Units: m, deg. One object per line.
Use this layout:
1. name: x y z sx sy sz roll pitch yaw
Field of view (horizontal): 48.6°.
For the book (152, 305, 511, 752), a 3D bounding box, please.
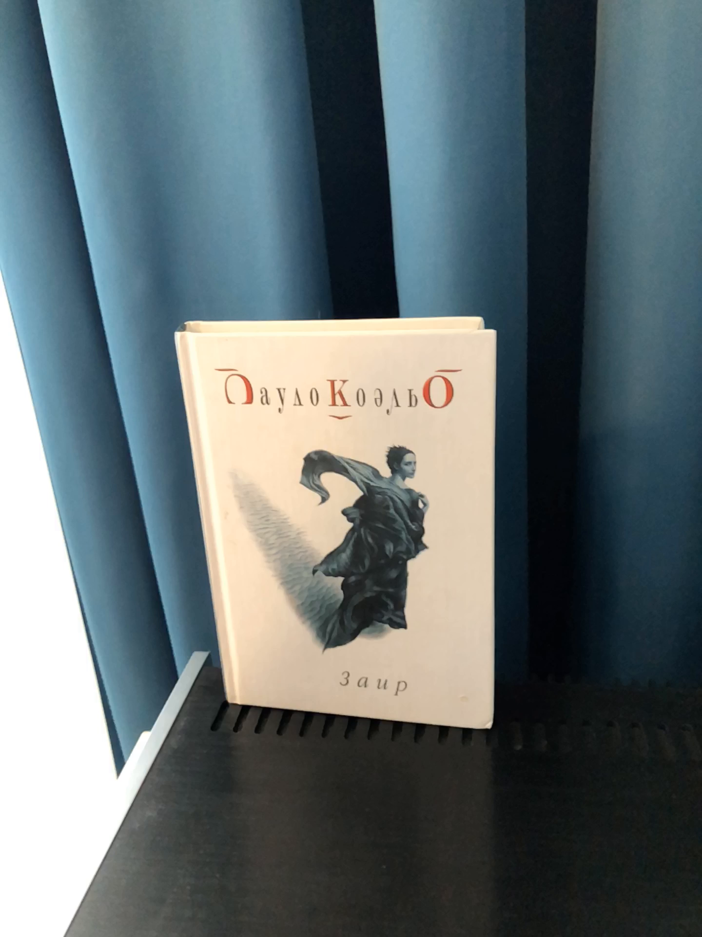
1. book: -0.001 0.027 0.321 0.130 0.179 0.030 1 22 15
